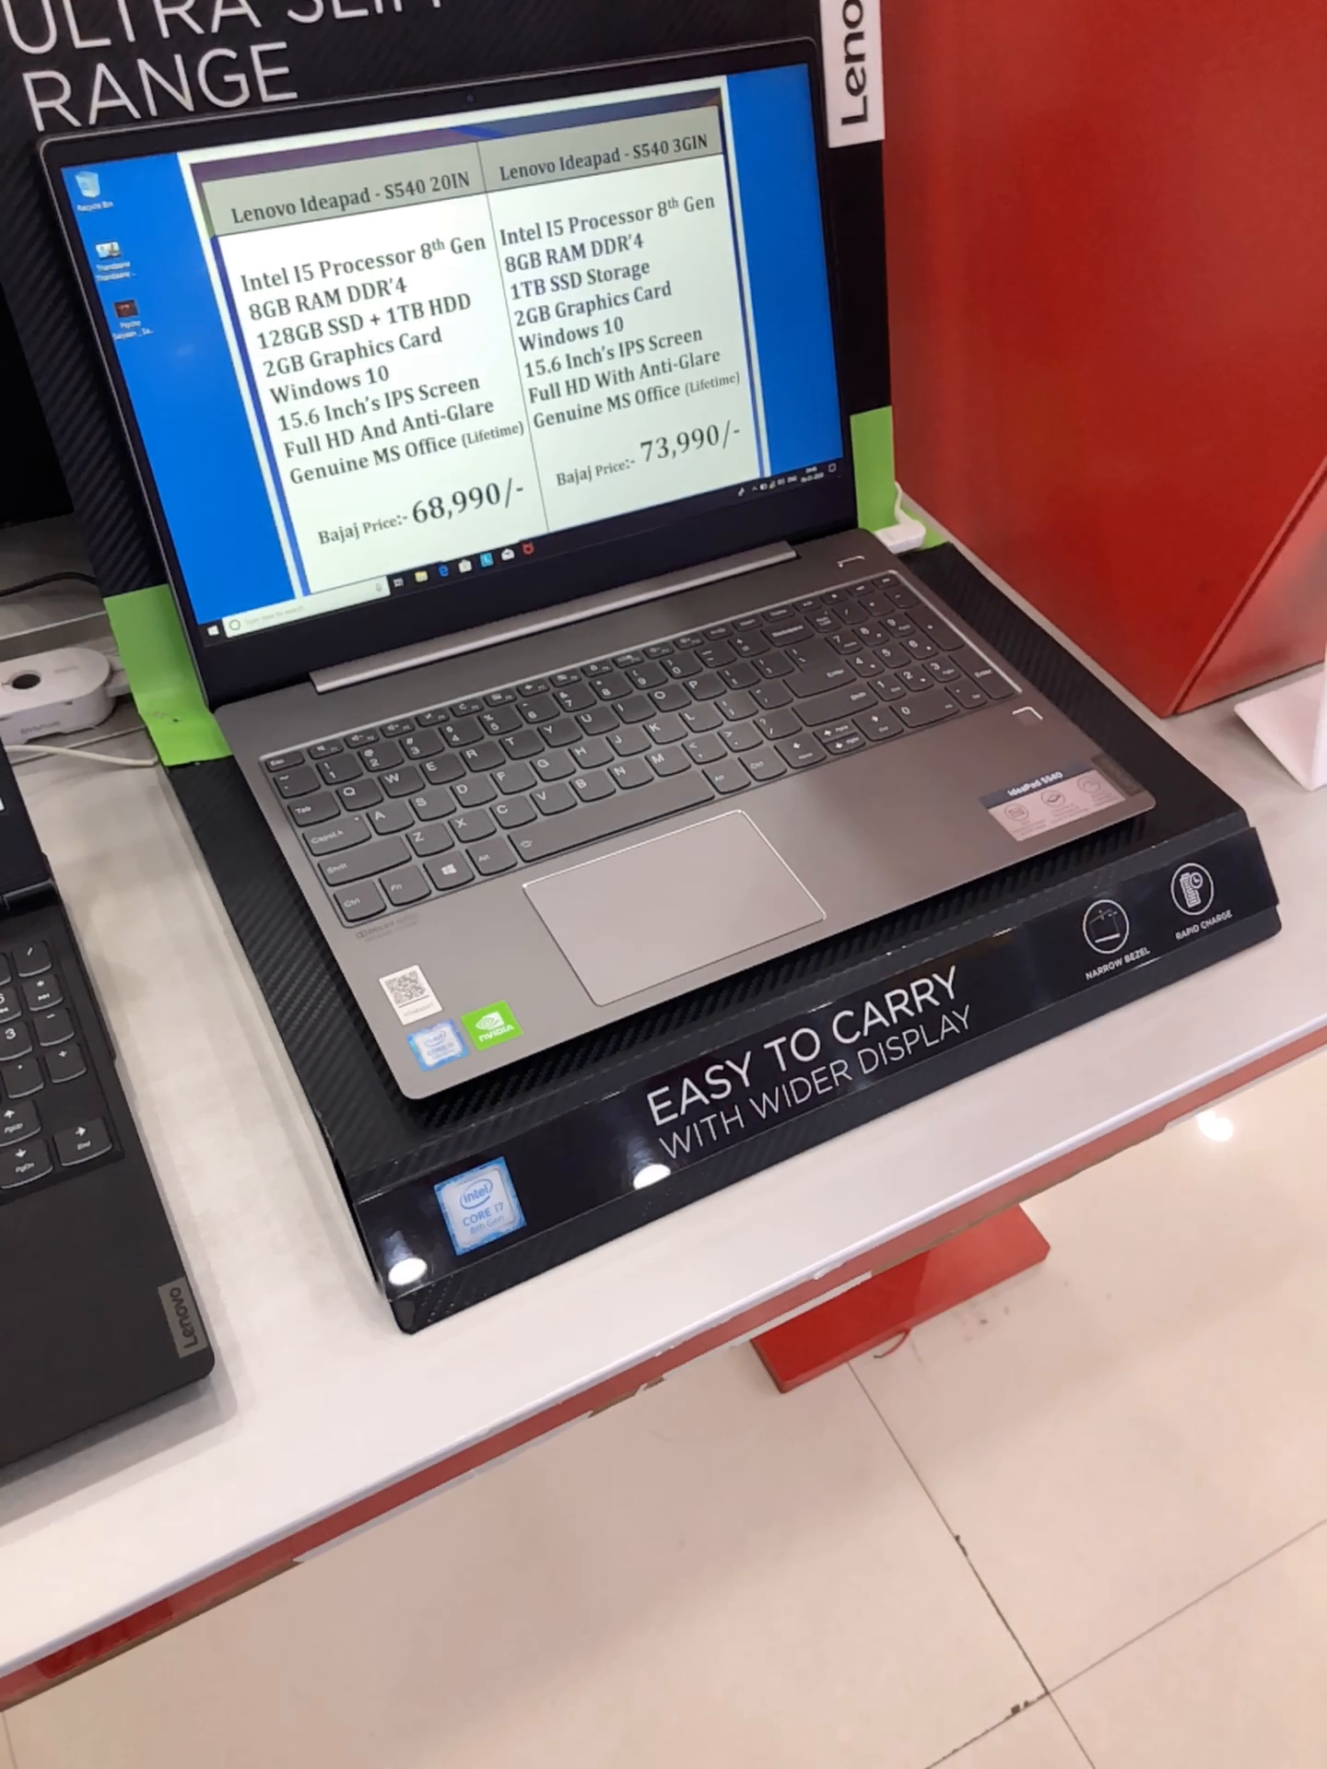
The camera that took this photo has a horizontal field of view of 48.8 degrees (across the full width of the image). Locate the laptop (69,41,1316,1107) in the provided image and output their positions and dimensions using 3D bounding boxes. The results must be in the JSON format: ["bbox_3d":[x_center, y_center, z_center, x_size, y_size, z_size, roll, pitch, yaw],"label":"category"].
[{"bbox_3d":[-0.009,-0.156,0.589,0.337,0.194,0.324,-20,53,-21],"label":"laptop"}]
